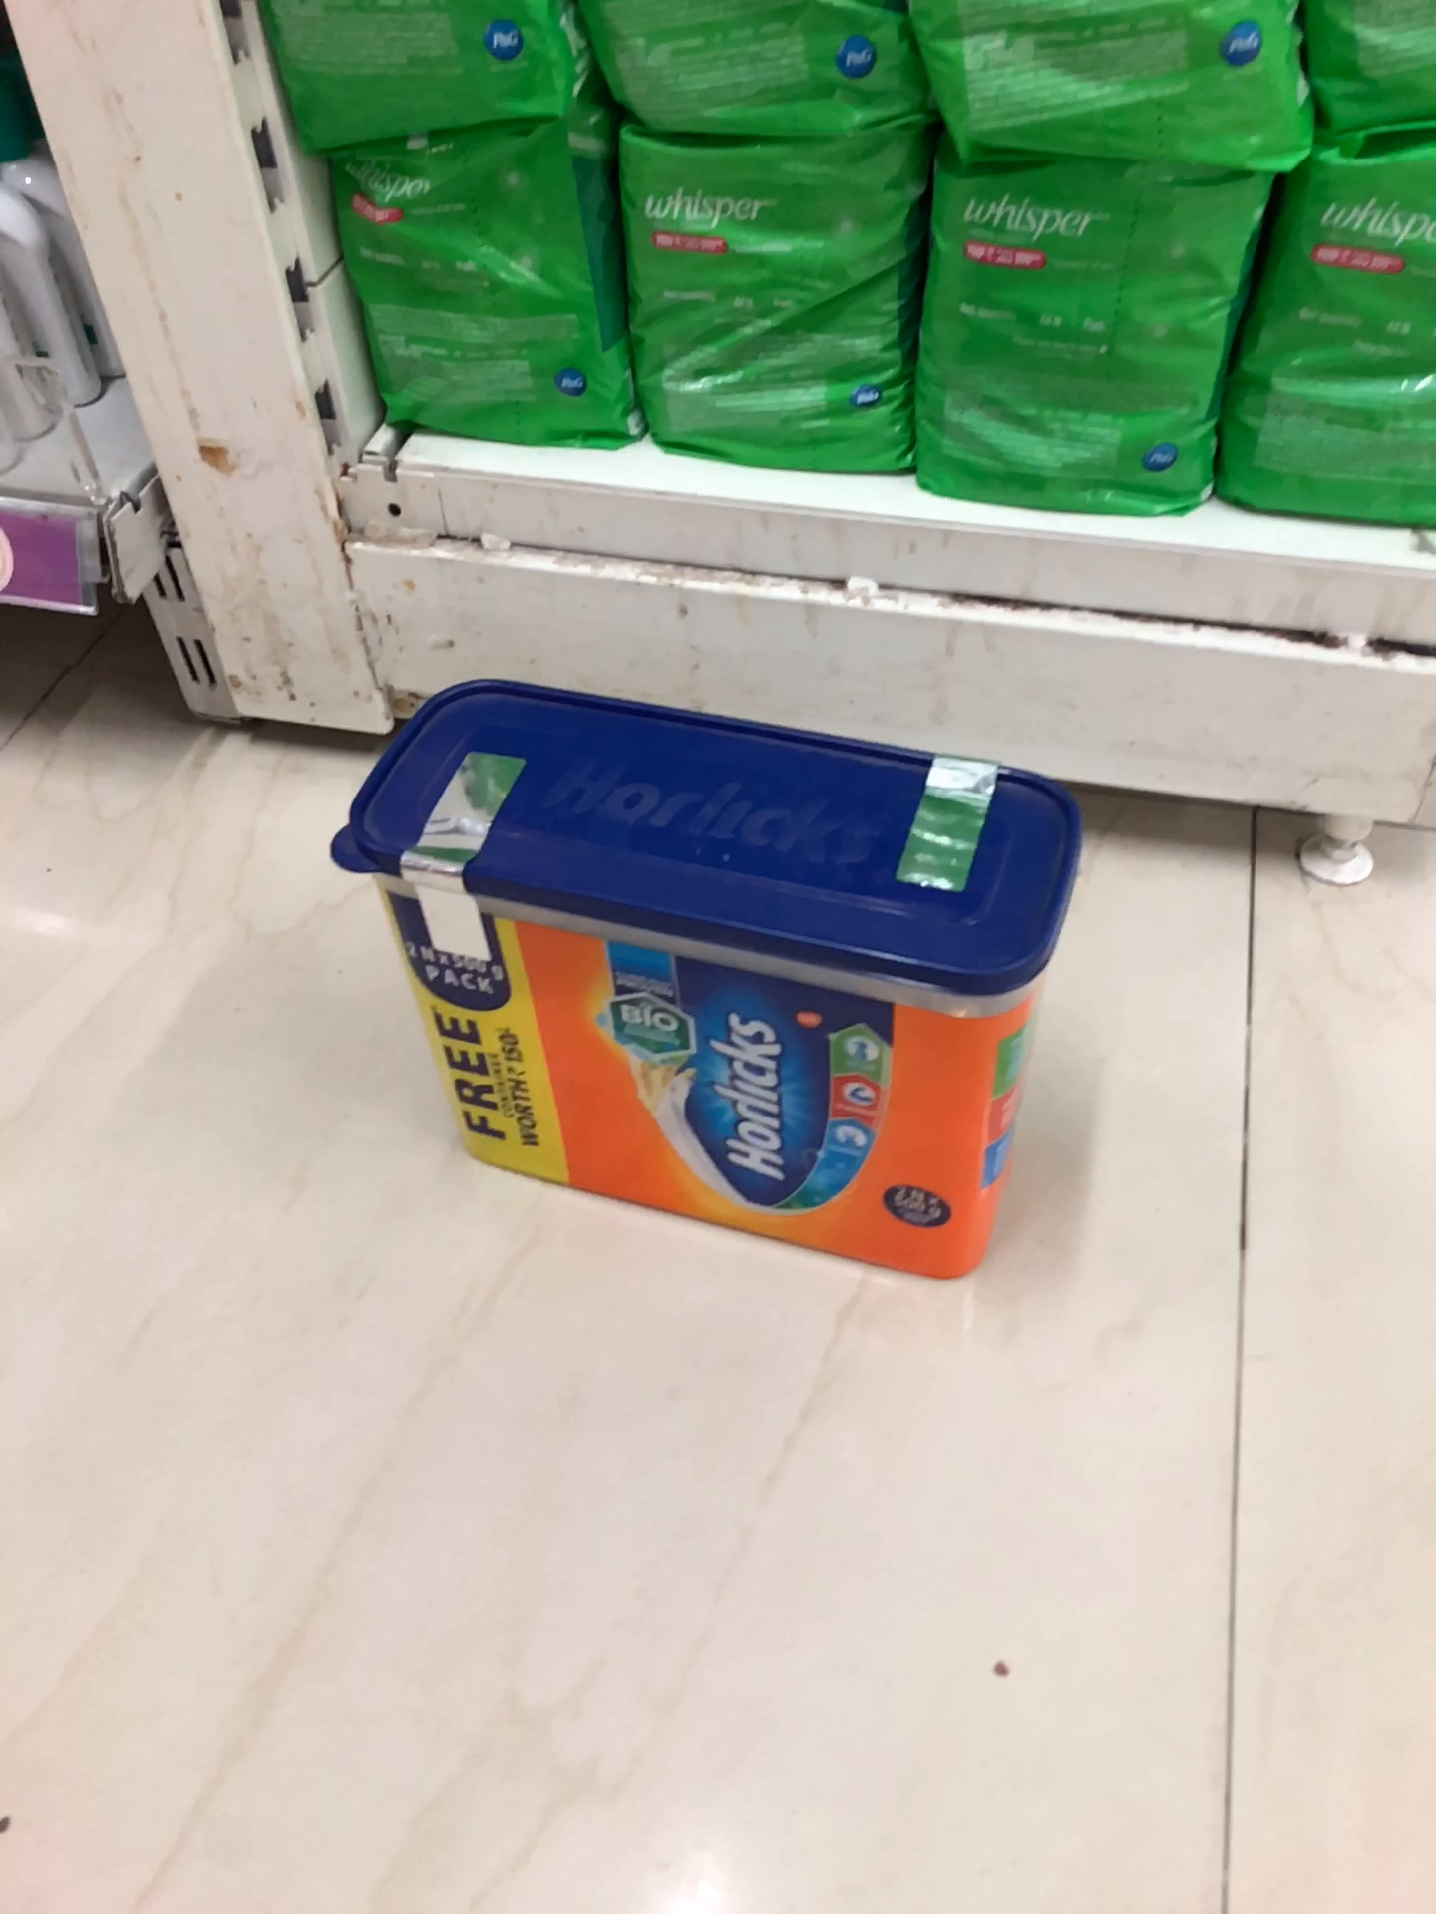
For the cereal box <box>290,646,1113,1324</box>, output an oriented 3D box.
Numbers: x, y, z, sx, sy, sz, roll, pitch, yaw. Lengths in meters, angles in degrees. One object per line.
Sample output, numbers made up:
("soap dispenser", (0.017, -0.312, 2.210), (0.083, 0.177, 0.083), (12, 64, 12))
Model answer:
("cereal box", (0.001, 0.009, 0.518), (0.220, 0.159, 0.101), (11, 49, 14))
